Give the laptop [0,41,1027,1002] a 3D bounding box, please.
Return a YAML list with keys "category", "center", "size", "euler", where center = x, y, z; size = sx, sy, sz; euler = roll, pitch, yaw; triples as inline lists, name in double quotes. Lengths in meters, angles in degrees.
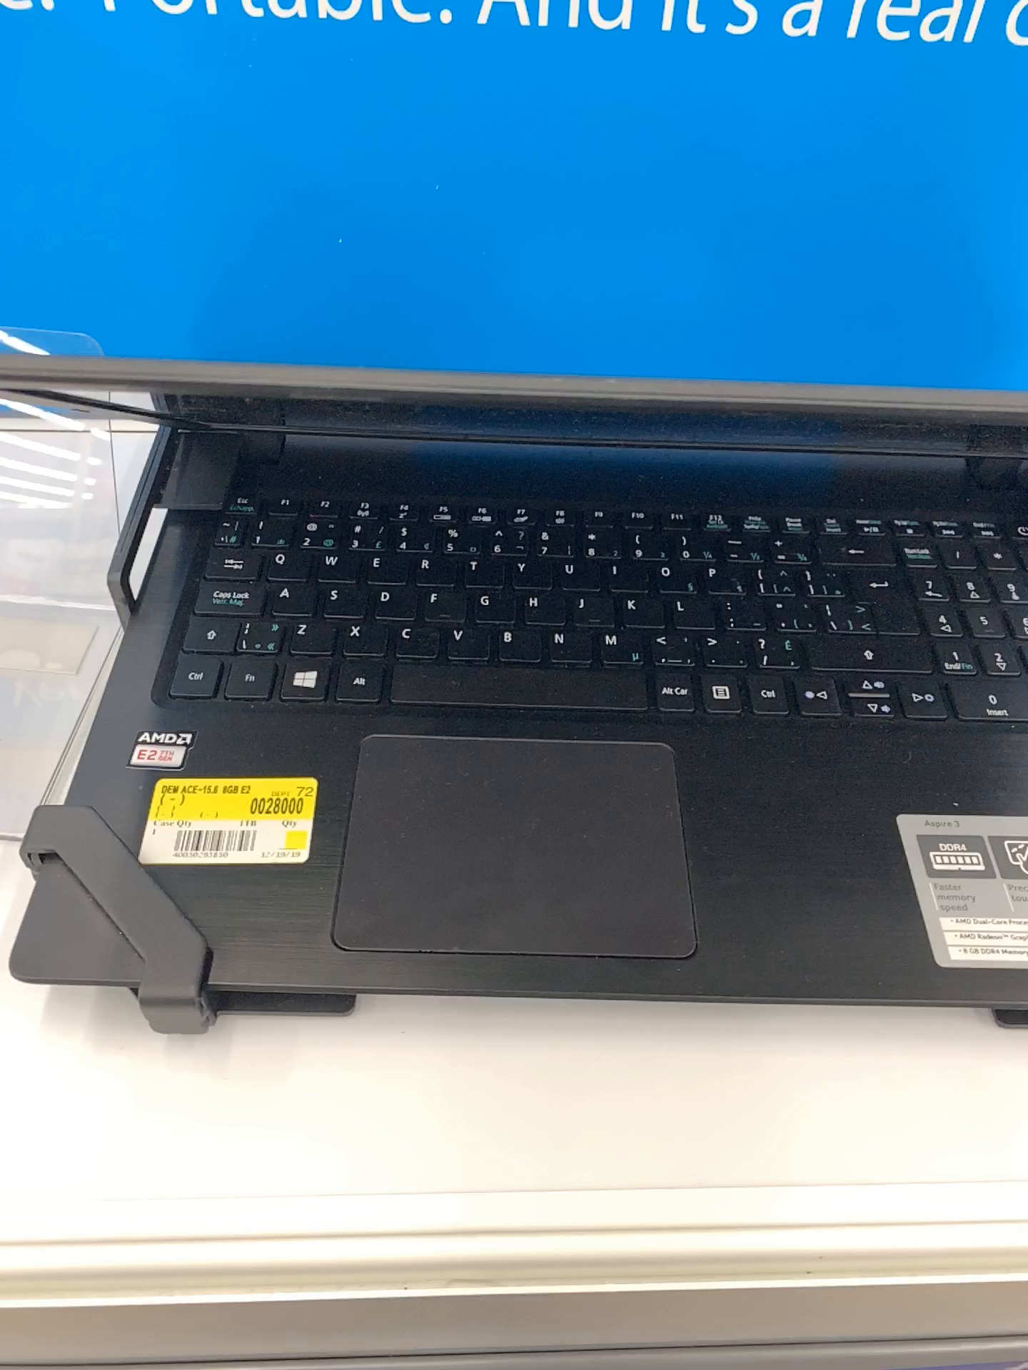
- category: "laptop"
  center: [0.050, -0.055, 0.312]
  size: [0.364, 0.146, 0.234]
  euler: [2, 51, -1]
